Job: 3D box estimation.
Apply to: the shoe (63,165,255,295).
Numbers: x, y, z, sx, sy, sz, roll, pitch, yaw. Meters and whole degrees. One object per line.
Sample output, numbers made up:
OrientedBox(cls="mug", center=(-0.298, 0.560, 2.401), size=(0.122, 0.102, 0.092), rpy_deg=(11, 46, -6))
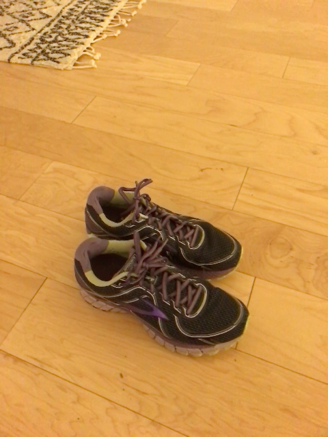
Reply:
OrientedBox(cls="shoe", center=(-0.006, 0.011, 0.575), size=(0.270, 0.079, 0.121), rpy_deg=(15, 53, 14))

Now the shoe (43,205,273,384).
OrientedBox(cls="shoe", center=(-0.010, 0.095, 0.497), size=(0.280, 0.079, 0.121), rpy_deg=(21, 54, 18))
